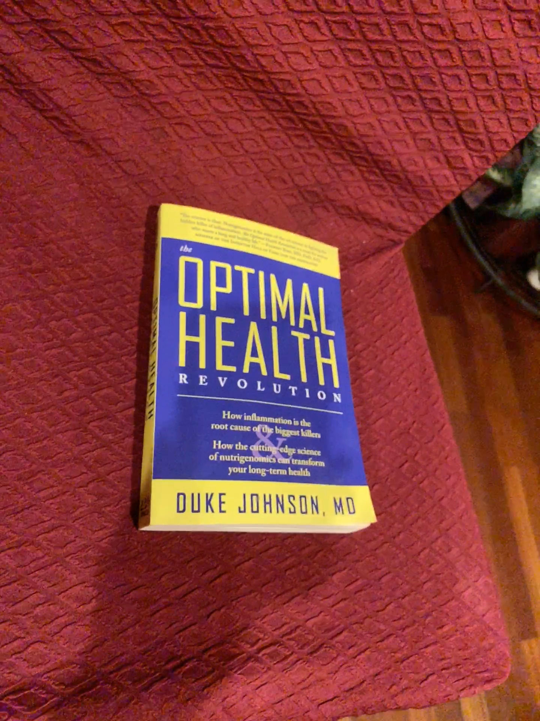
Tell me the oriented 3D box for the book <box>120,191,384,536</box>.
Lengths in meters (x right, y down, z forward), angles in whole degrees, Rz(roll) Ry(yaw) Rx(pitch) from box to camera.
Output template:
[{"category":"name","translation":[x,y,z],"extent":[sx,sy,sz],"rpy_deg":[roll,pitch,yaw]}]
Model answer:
[{"category":"book","translation":[-0.012,0.007,0.406],"extent":[0.161,0.060,0.222],"rpy_deg":[10,65,-26]}]
